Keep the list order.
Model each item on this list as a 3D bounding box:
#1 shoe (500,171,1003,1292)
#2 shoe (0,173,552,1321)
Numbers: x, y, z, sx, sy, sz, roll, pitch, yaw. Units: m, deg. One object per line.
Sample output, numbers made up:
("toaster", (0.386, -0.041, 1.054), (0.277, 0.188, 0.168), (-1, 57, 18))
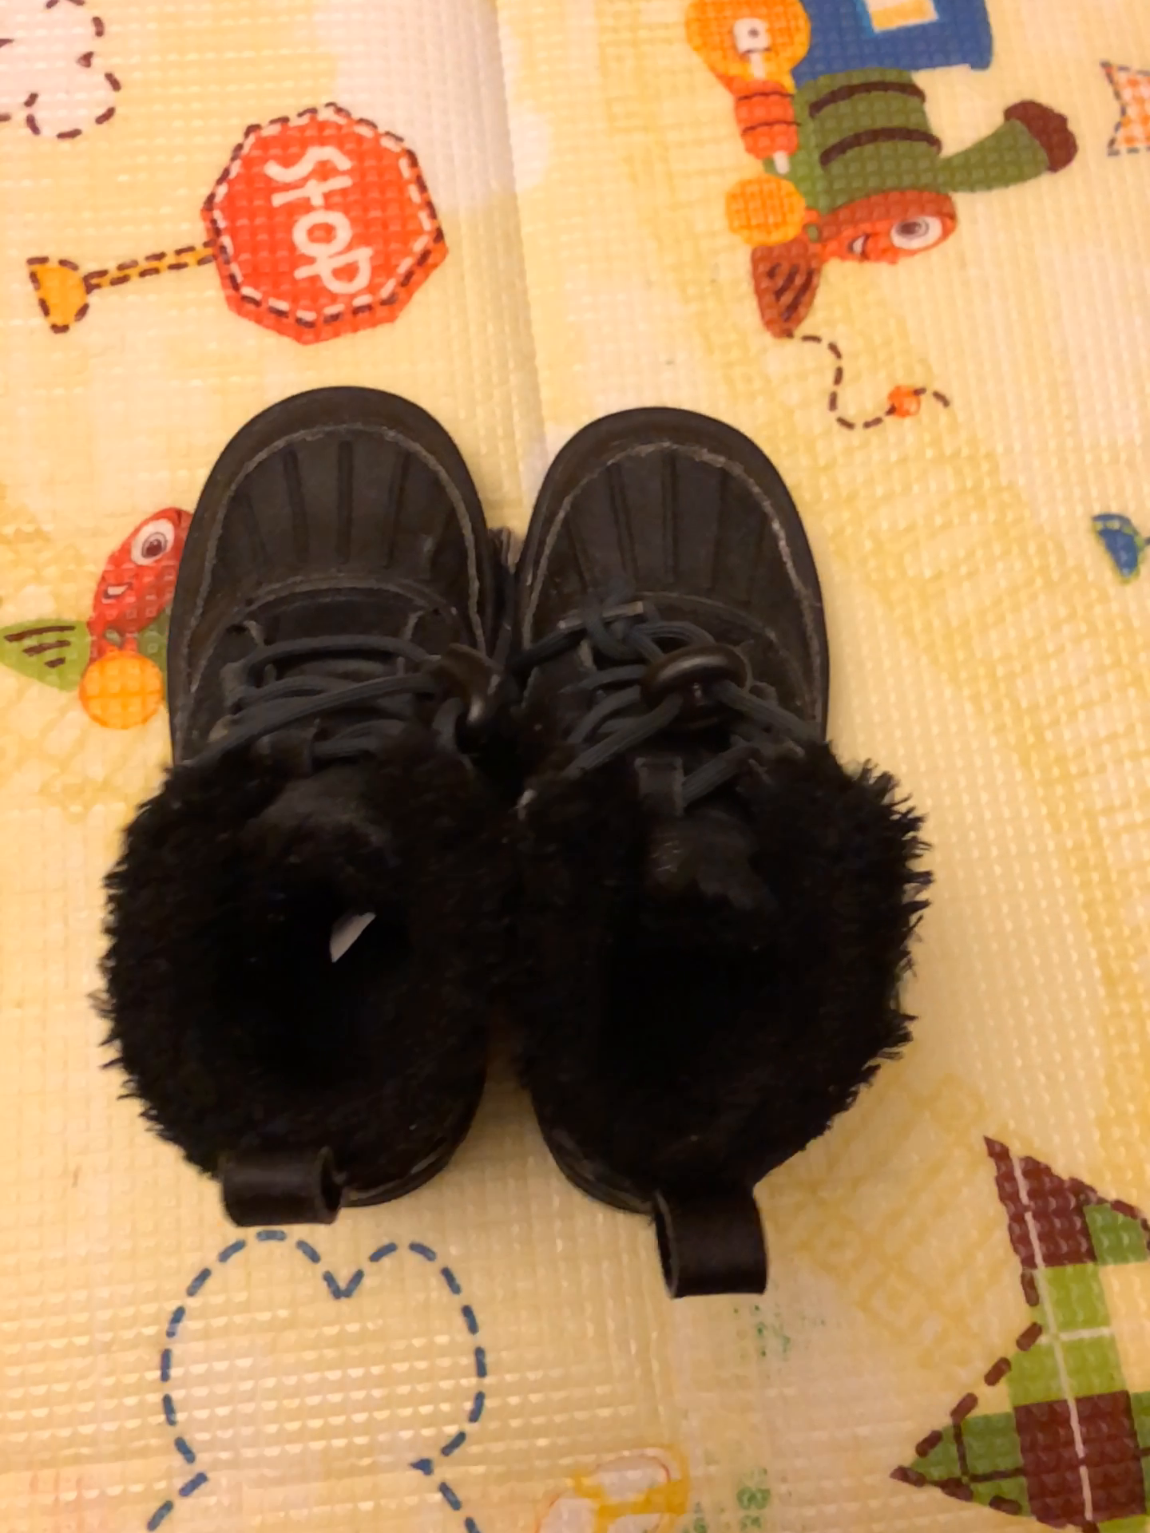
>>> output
("shoe", (0.033, -0.005, 0.302), (0.090, 0.110, 0.220), (3, 78, -3))
("shoe", (-0.054, -0.002, 0.289), (0.090, 0.120, 0.210), (0, 78, -3))
